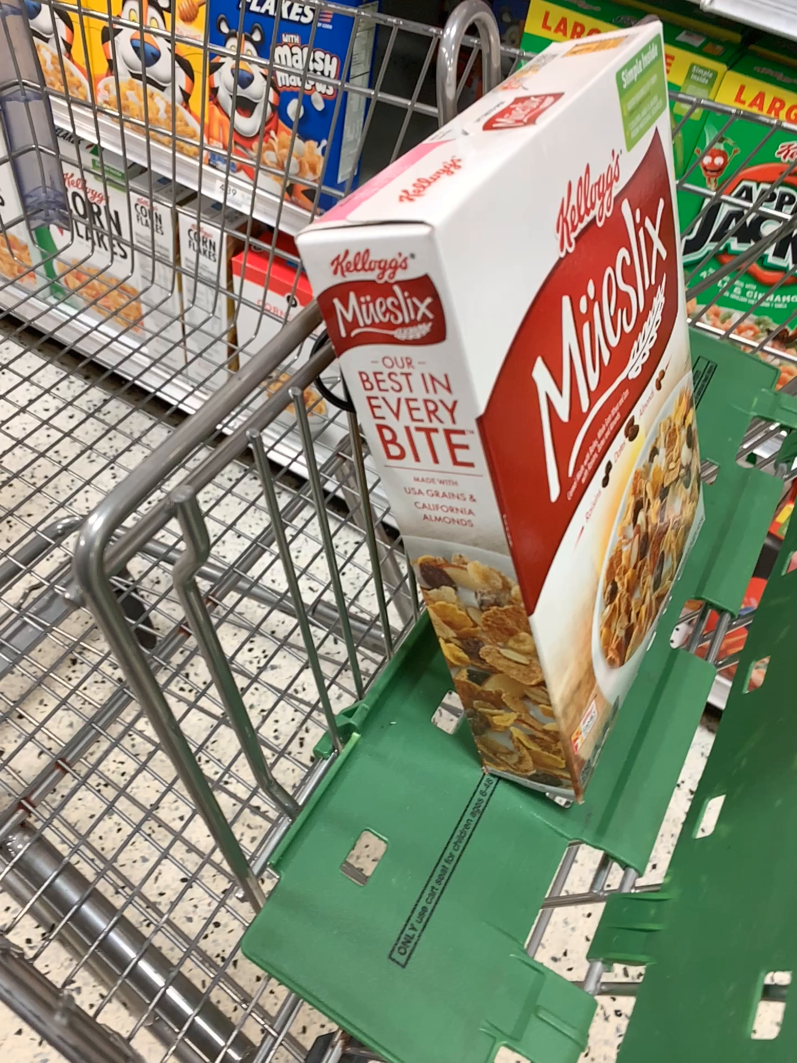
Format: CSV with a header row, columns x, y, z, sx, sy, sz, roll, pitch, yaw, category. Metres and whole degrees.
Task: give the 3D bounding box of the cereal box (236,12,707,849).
x,y,z,sx,sy,sz,roll,pitch,yaw,category
0.066,-0.035,0.347,0.060,0.268,0.202,8,44,33,cereal box
